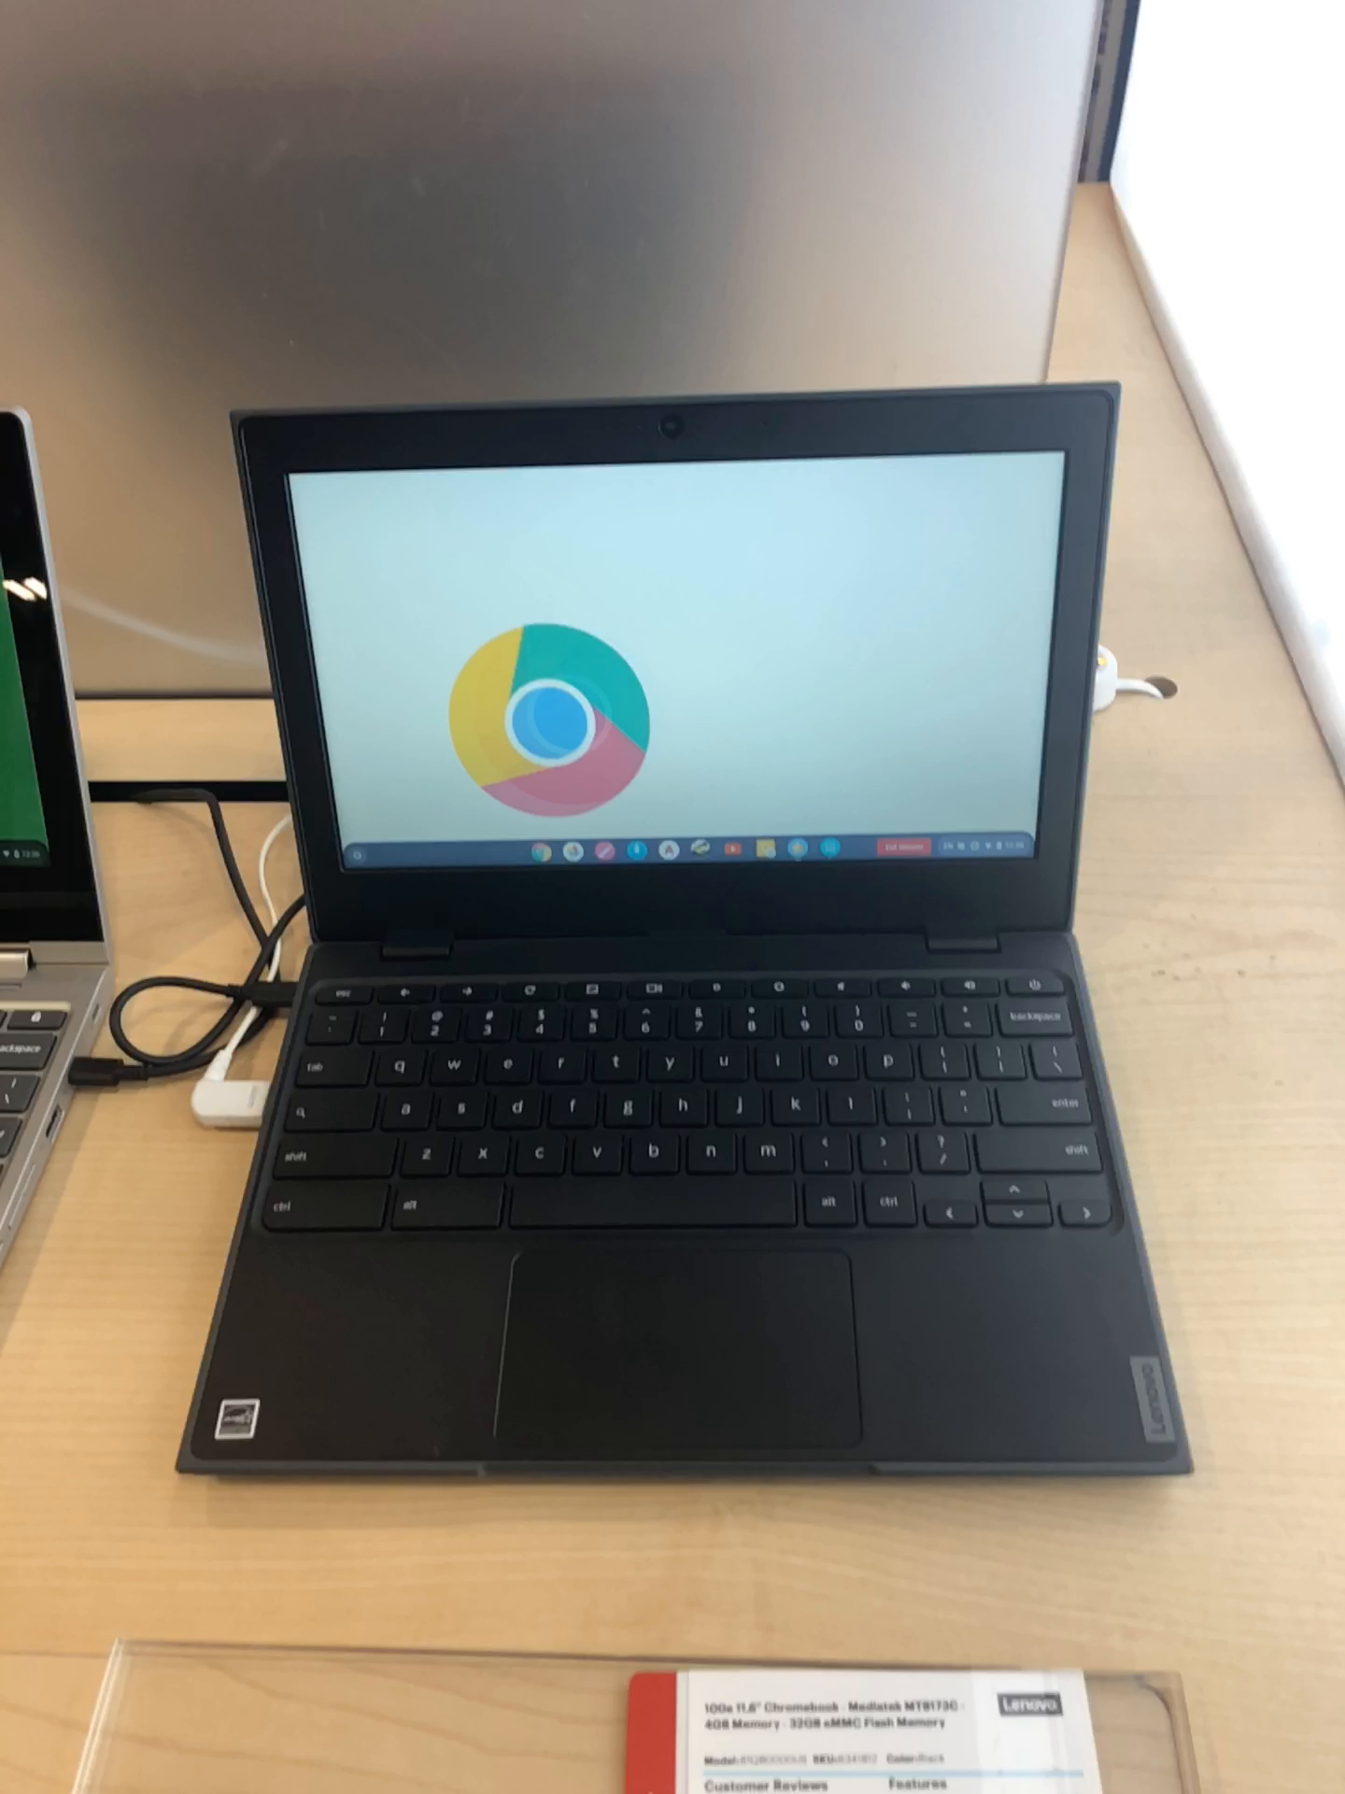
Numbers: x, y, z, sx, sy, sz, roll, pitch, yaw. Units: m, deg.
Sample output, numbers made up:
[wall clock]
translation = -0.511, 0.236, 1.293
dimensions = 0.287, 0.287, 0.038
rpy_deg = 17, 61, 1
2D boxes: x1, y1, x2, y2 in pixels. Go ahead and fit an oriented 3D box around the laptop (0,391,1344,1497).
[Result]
[laptop]
translation = 0.004, 0.004, 0.447
dimensions = 0.281, 0.178, 0.272
rpy_deg = -1, 45, 3
